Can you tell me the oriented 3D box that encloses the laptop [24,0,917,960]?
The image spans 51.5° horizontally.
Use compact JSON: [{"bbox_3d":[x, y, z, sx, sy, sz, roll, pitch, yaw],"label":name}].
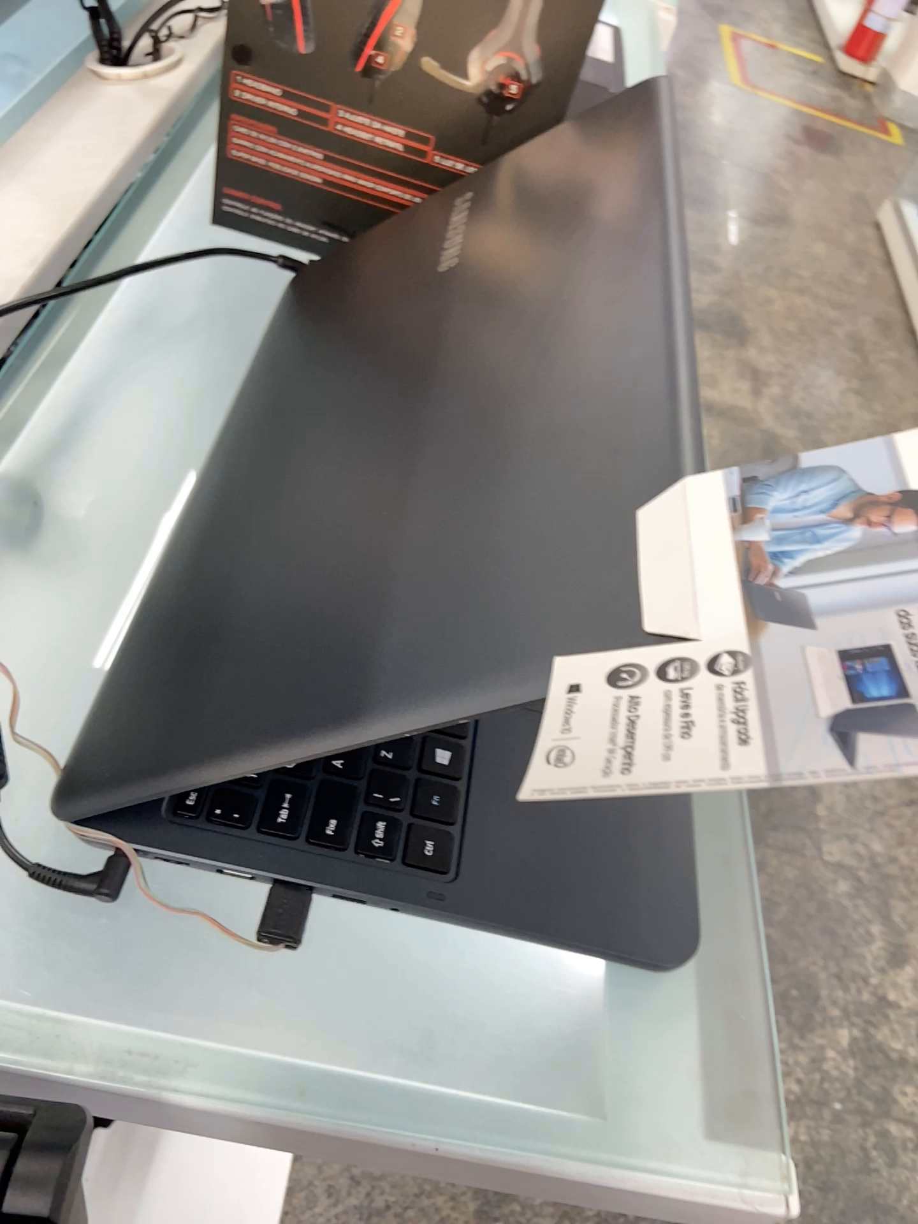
[{"bbox_3d":[0.017,-0.086,0.416,0.237,0.170,0.373,15,48,-6],"label":"laptop"}]
